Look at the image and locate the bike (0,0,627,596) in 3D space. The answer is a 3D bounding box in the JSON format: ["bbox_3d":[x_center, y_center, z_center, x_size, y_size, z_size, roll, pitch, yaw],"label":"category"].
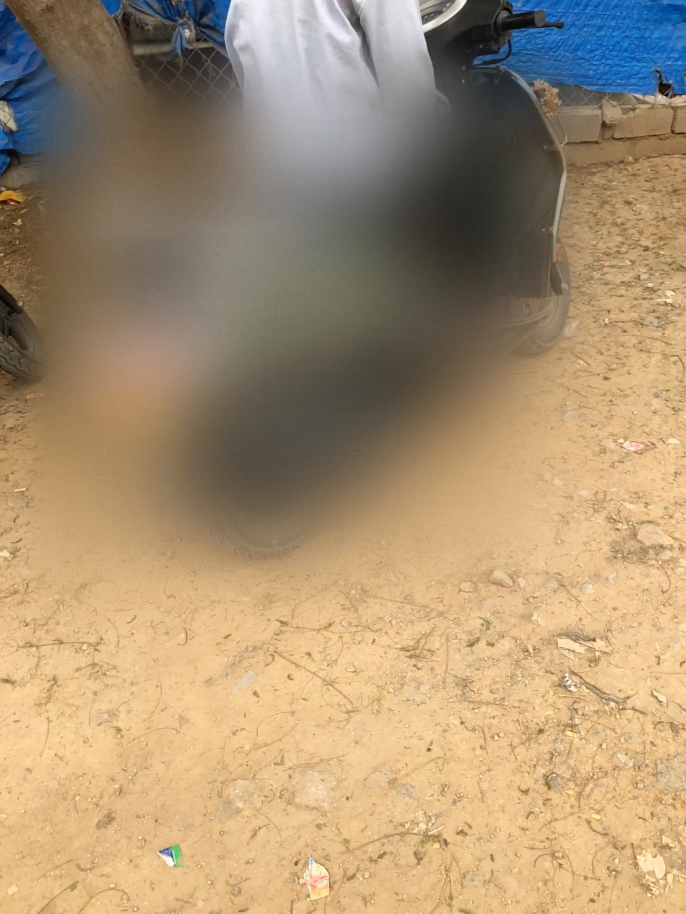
[{"bbox_3d":[0.086,-0.697,2.088,0.623,1.054,1.730,21,41,32],"label":"bike"}]
